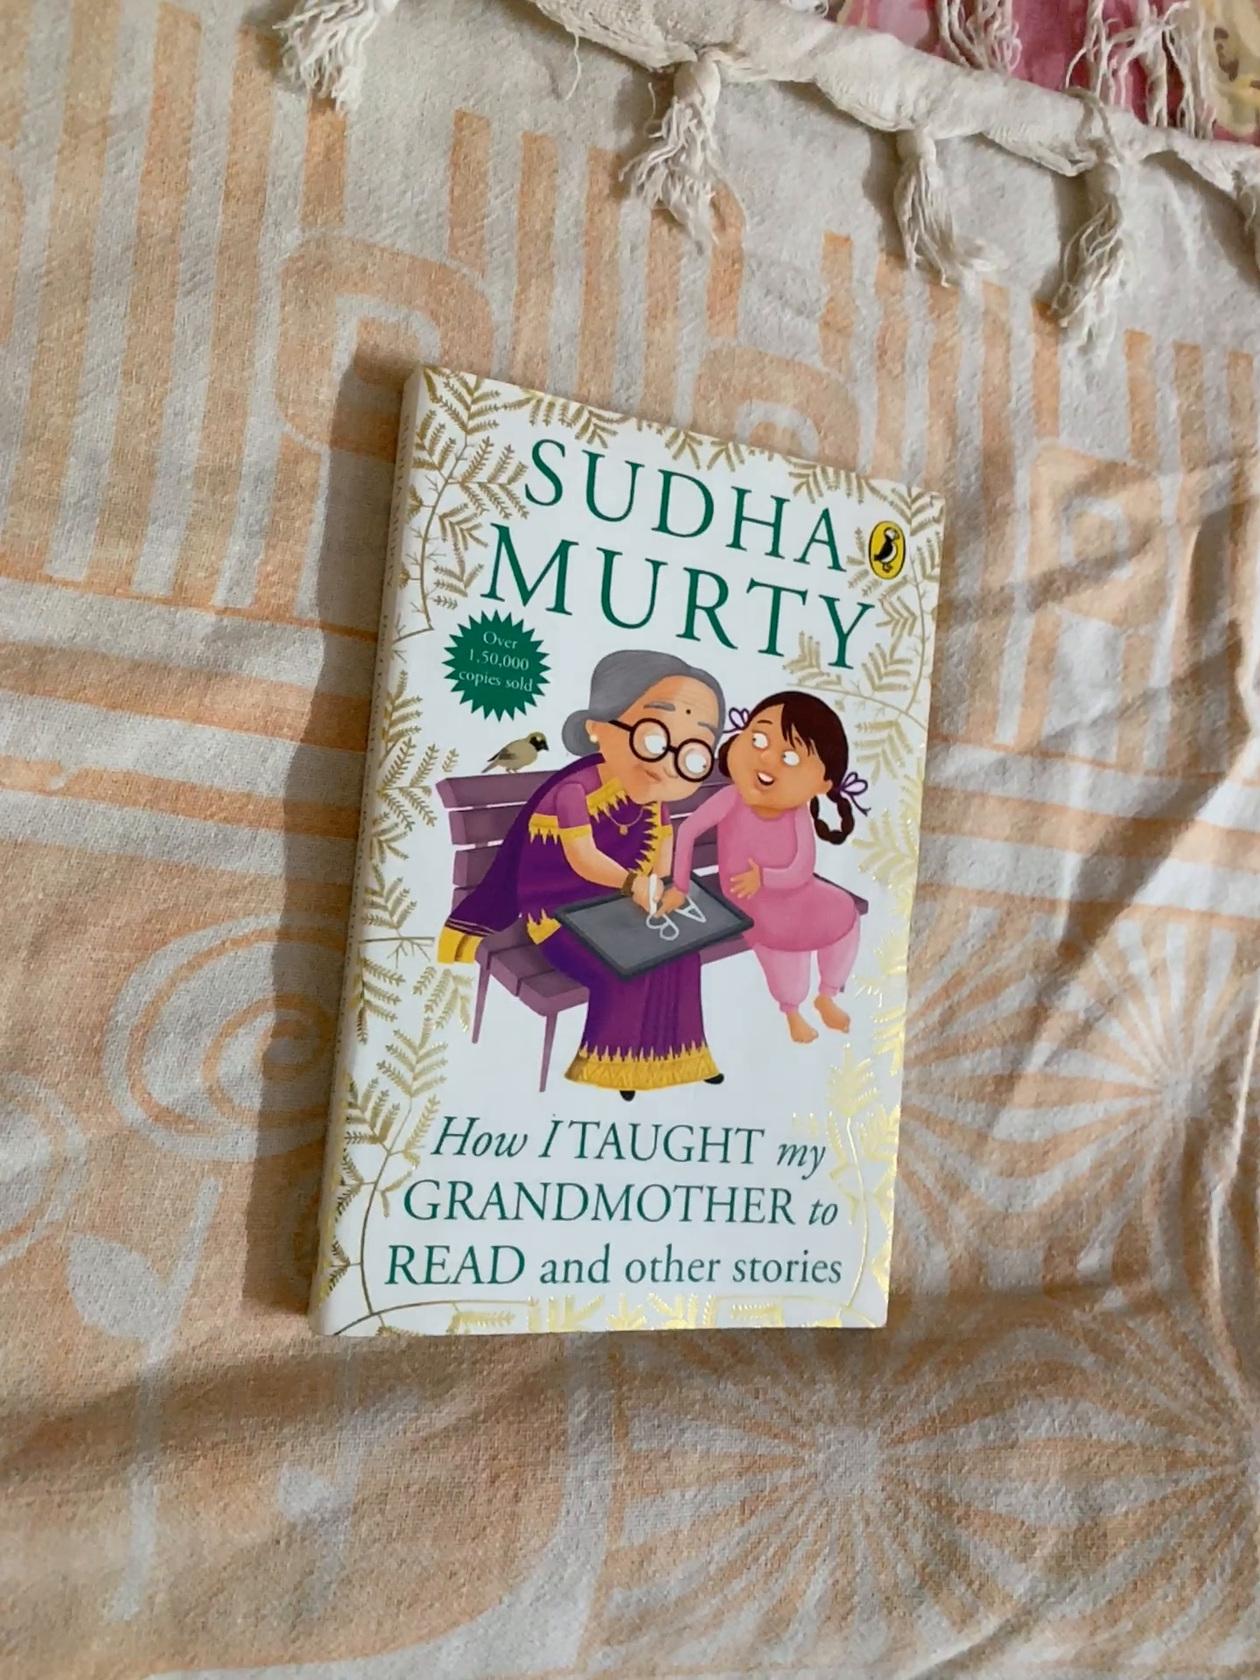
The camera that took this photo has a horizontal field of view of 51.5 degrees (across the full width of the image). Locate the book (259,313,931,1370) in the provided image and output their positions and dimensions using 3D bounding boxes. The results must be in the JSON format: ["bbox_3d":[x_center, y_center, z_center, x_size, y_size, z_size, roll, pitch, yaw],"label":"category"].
[{"bbox_3d":[-0.001,0.003,0.276,0.130,0.020,0.200,6,82,-20],"label":"book"}]
